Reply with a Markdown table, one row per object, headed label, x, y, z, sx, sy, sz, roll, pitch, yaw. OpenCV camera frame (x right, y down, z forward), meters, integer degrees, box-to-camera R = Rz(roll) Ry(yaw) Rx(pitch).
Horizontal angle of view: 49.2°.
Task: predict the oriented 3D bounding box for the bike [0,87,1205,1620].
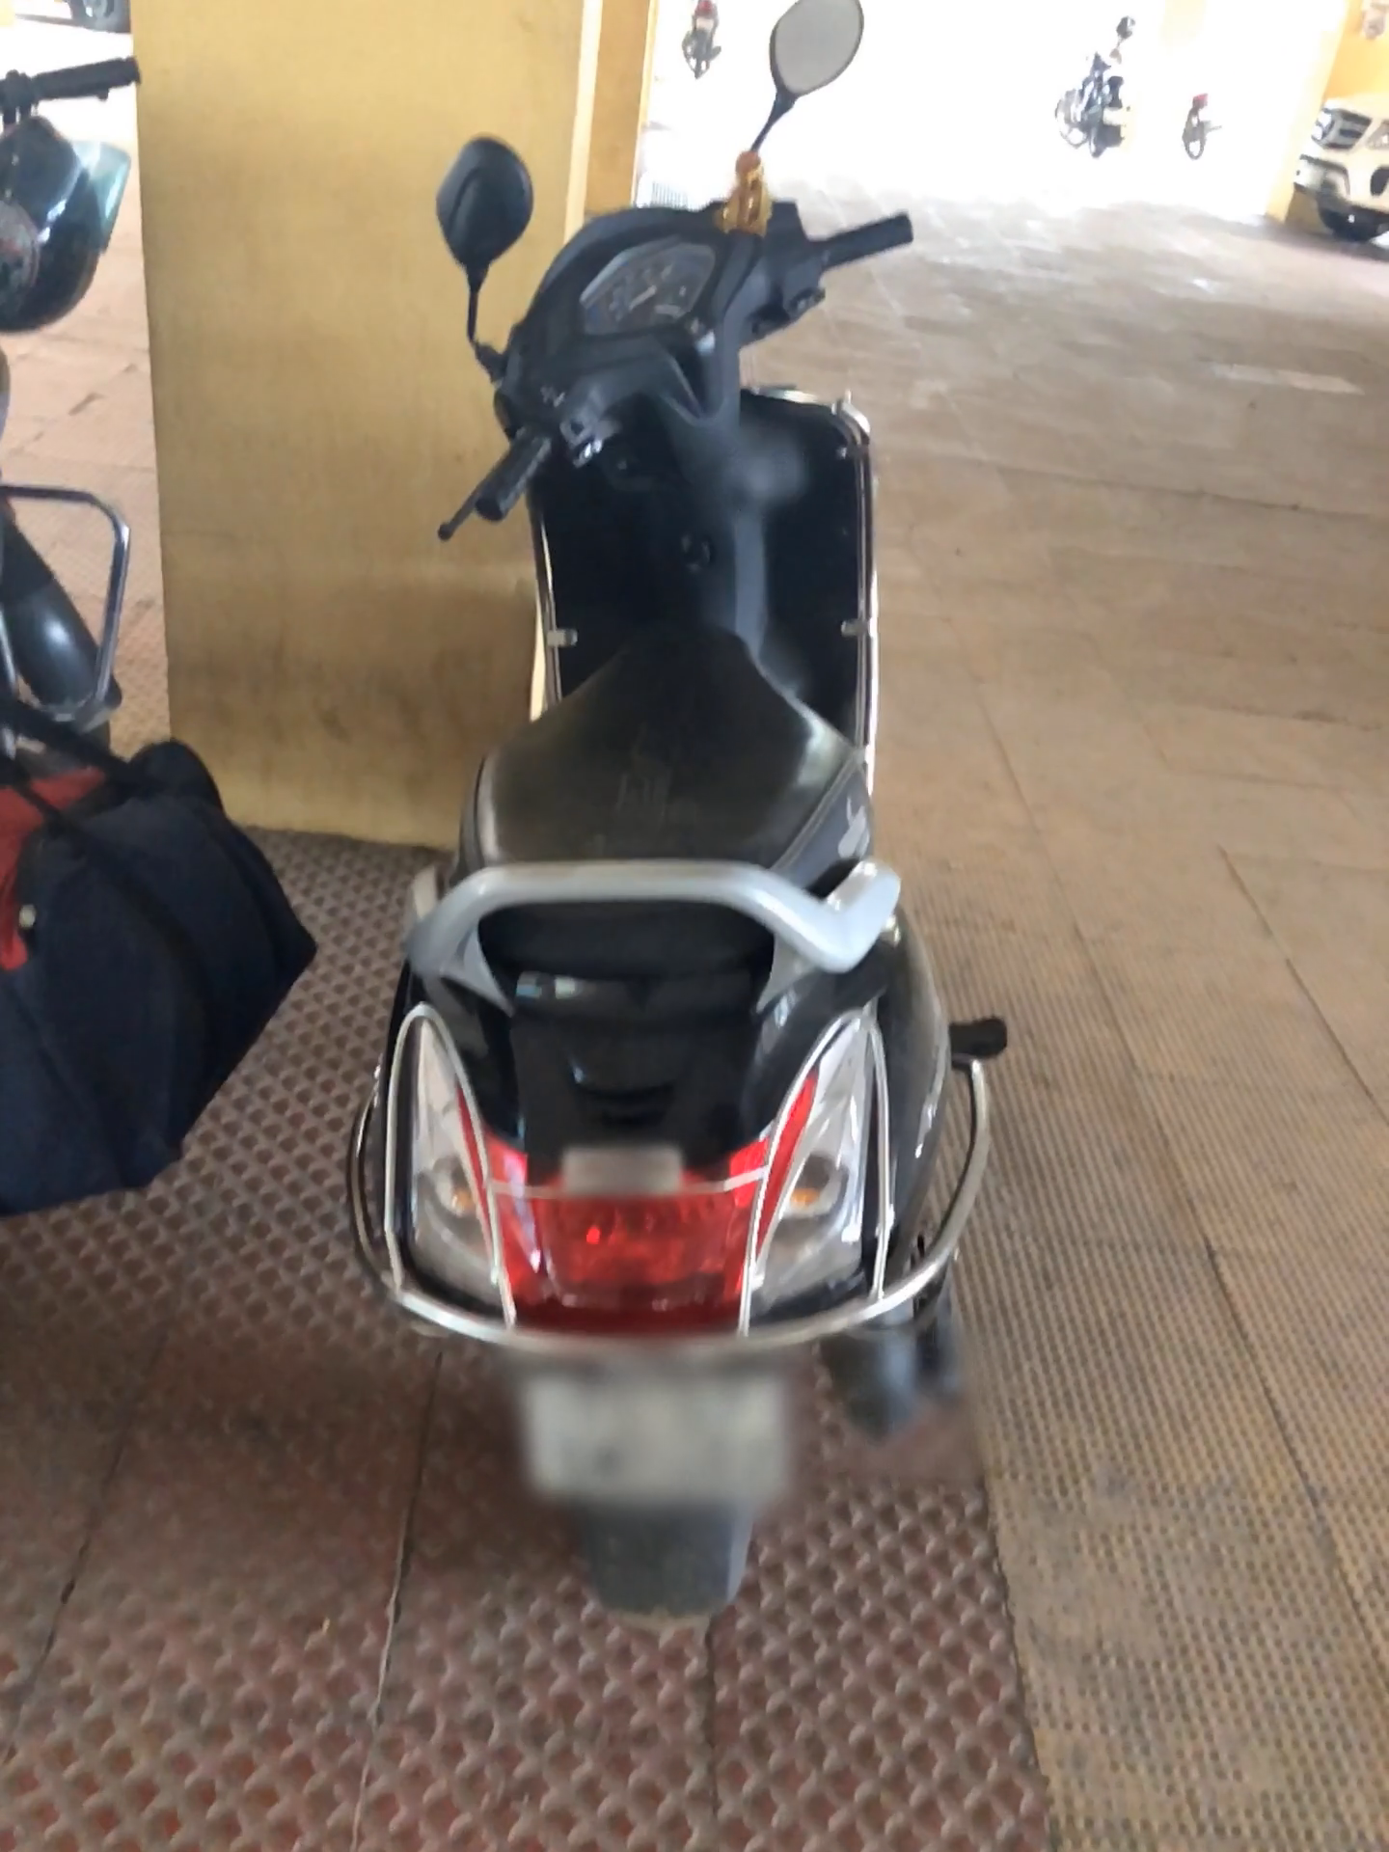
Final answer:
| label | x | y | z | sx | sy | sz | roll | pitch | yaw |
| --- | --- | --- | --- | --- | --- | --- | --- | --- | --- |
| bike | -0.174 | -0.301 | 1.683 | 0.621 | 0.883 | 1.668 | 4 | 33 | -8 |
